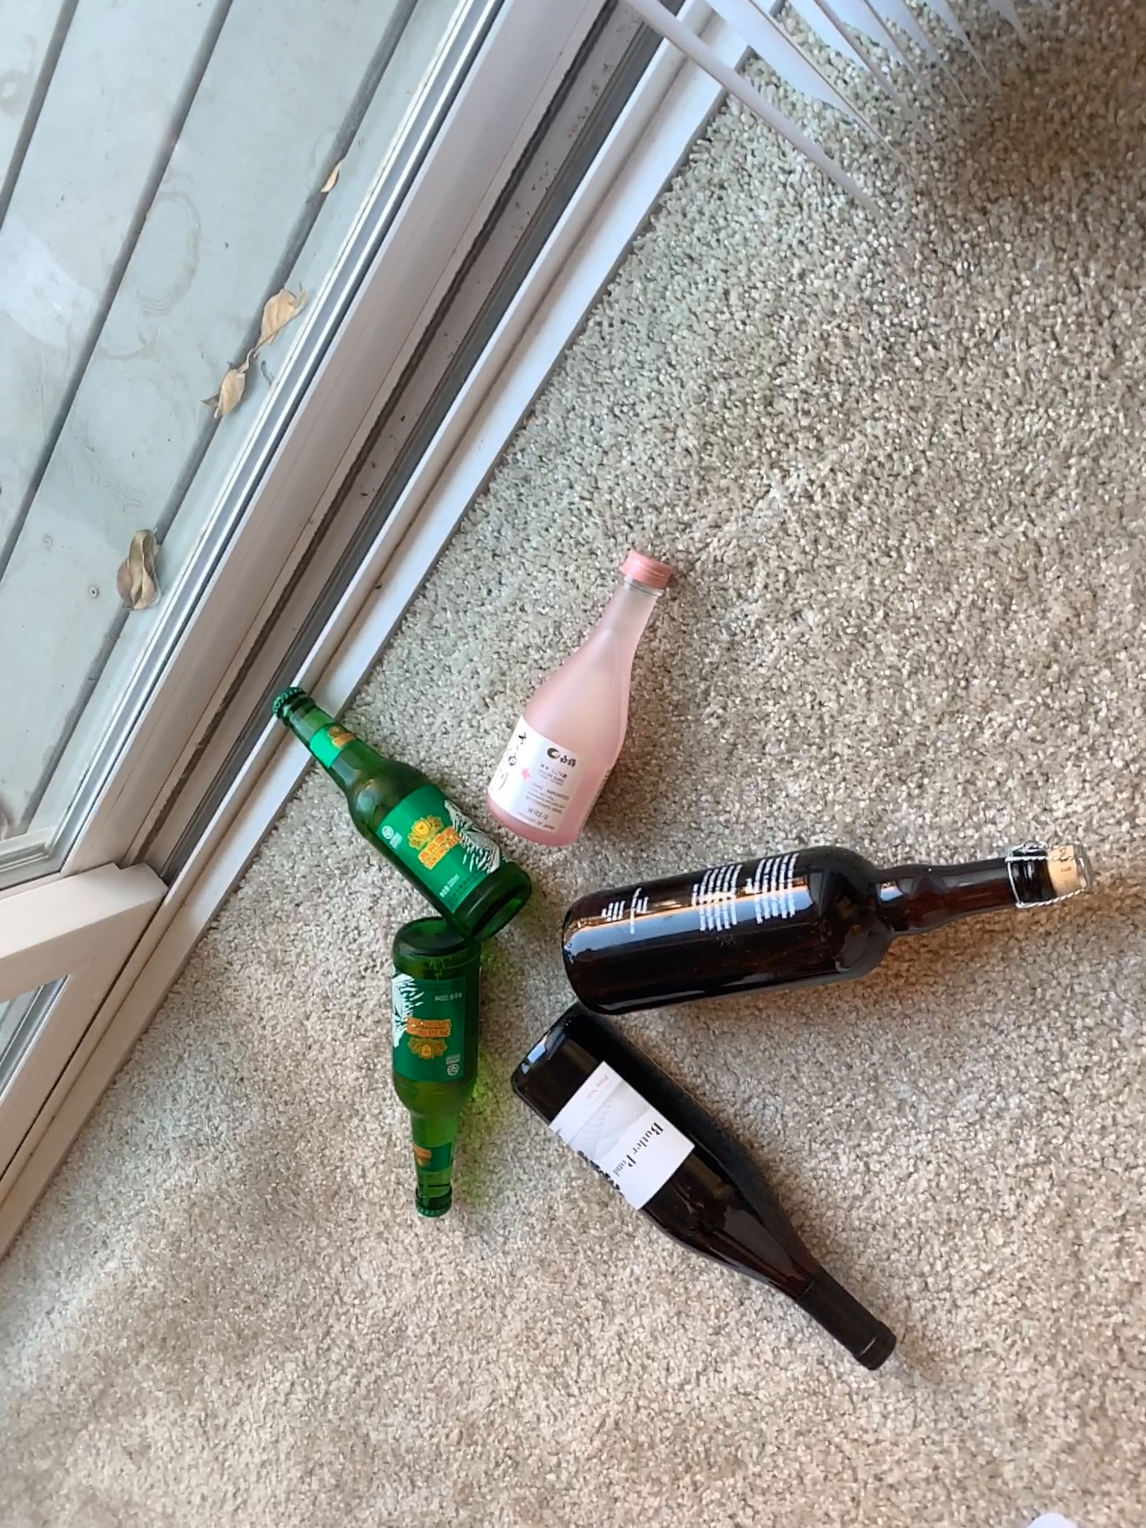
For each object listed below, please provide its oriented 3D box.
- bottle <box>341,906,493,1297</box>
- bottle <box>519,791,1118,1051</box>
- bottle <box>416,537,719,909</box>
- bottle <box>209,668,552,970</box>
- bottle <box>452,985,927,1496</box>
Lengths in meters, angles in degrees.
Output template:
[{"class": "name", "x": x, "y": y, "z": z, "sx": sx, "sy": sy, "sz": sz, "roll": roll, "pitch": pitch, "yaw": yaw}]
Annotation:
[{"class": "bottle", "x": -0.106, "y": 0.231, "z": 0.813, "sx": 0.060, "sy": 0.089, "sz": 0.240, "roll": 9, "pitch": 106, "yaw": 27}, {"class": "bottle", "x": 0.128, "y": 0.093, "z": 0.659, "sx": 0.312, "sy": 0.089, "sz": 0.070, "roll": -16, "pitch": 94, "yaw": 31}, {"class": "bottle", "x": -0.005, "y": -0.025, "z": 0.688, "sx": 0.070, "sy": 0.089, "sz": 0.201, "roll": 35, "pitch": 116, "yaw": 18}, {"class": "bottle", "x": -0.133, "y": 0.031, "z": 0.800, "sx": 0.230, "sy": 0.080, "sz": 0.060, "roll": 39, "pitch": 117, "yaw": 16}, {"class": "bottle", "x": 0.069, "y": 0.282, "z": 0.724, "sx": 0.300, "sy": 0.089, "sz": 0.070, "roll": 44, "pitch": 118, "yaw": 14}]
